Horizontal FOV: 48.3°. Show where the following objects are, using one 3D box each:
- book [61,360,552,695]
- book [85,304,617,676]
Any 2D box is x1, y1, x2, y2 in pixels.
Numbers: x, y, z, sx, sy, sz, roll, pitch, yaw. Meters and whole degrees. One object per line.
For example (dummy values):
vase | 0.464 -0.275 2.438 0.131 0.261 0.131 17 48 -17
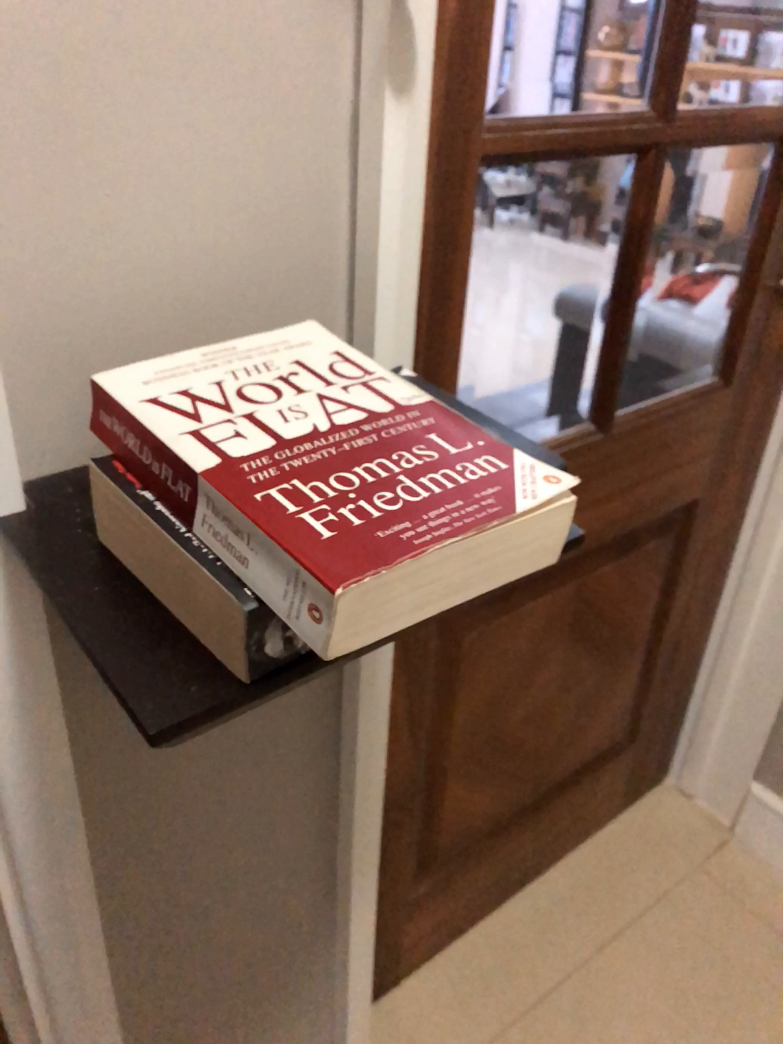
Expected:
book | -0.039 -0.015 0.453 0.201 0.040 0.151 -23 49 -40
book | -0.028 -0.034 0.400 0.141 0.040 0.211 -22 42 -32
